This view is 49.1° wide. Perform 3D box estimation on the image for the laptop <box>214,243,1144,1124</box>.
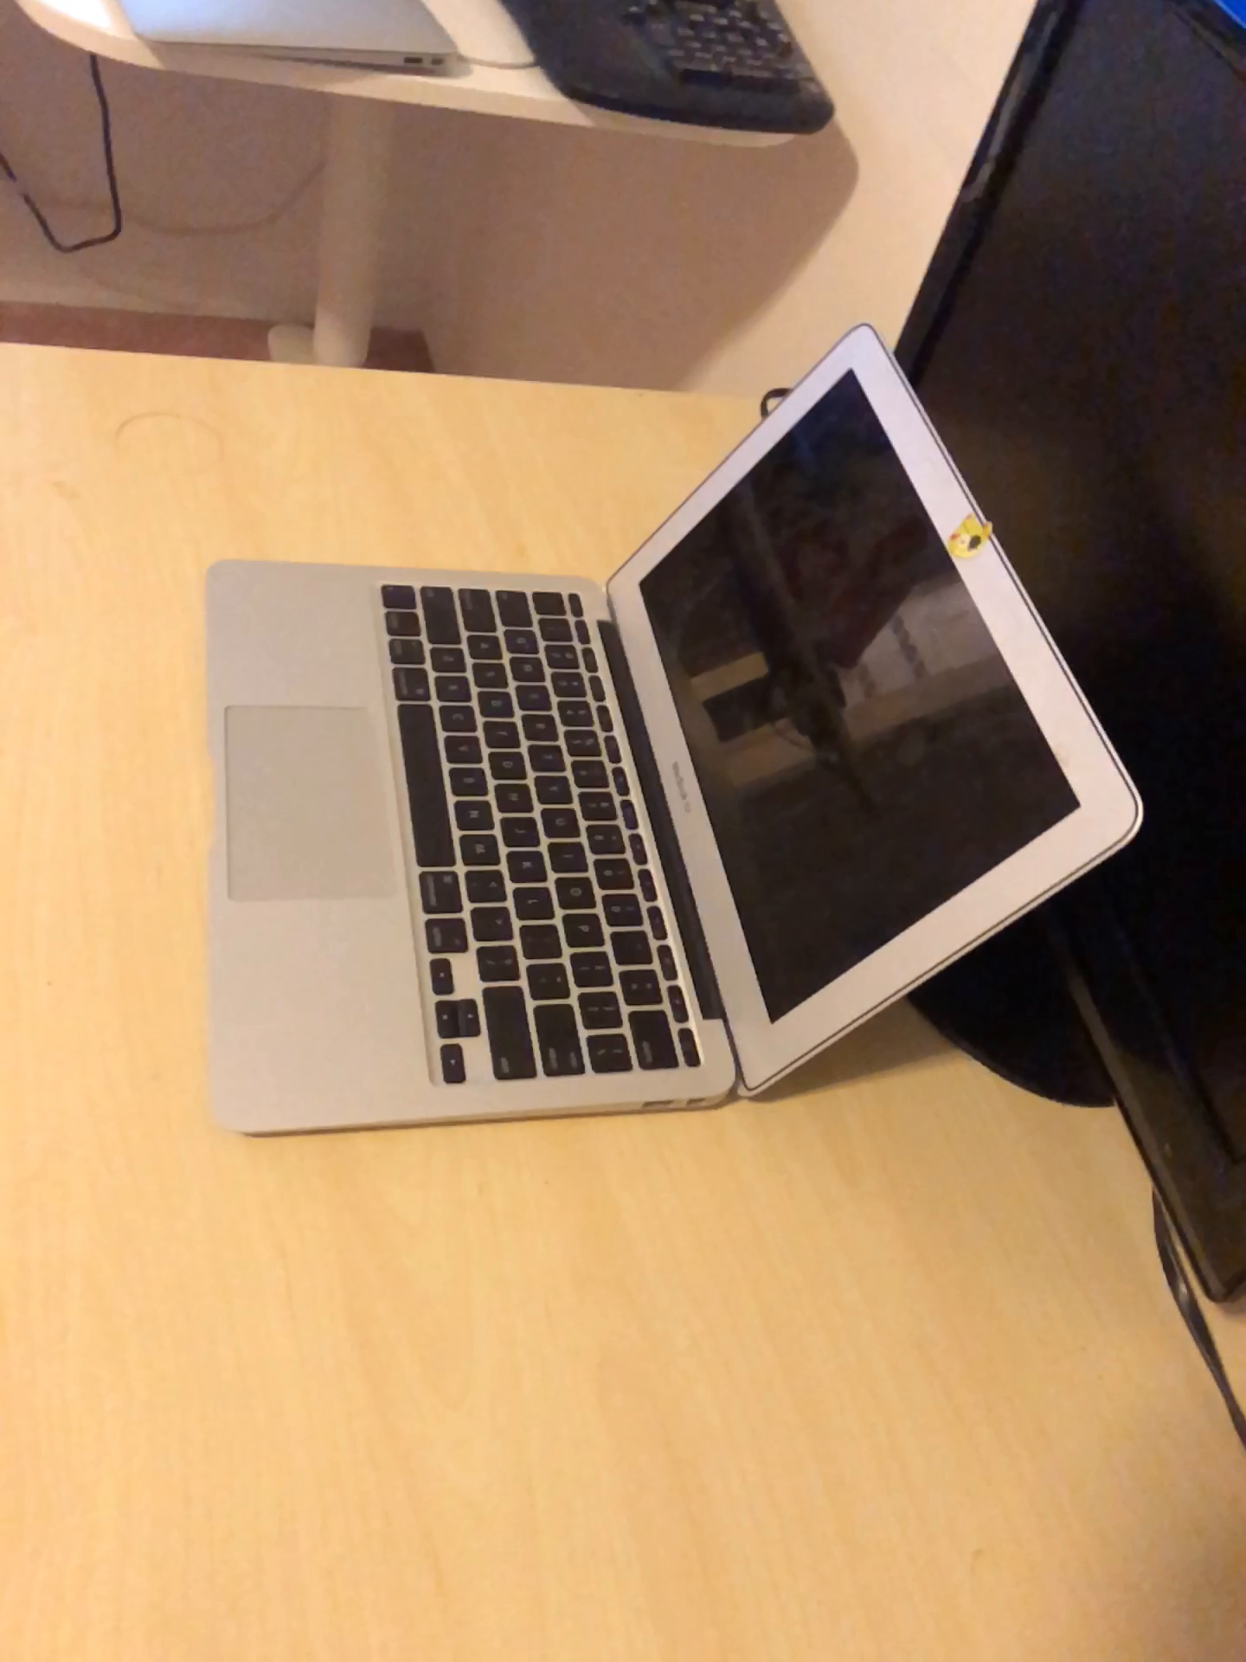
[{"bbox_3d":[-0.014,-0.062,0.539,0.274,0.161,0.292,0,50,-18],"label":"laptop"}]
